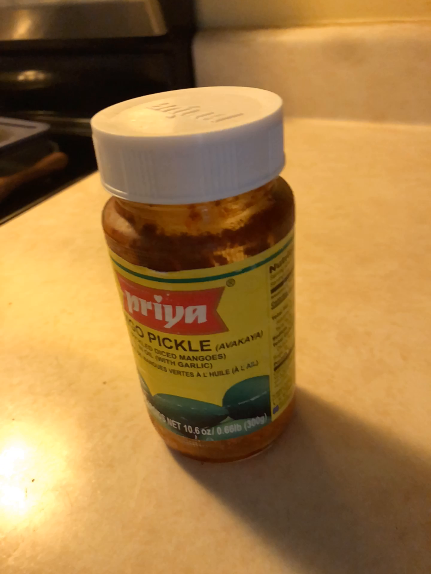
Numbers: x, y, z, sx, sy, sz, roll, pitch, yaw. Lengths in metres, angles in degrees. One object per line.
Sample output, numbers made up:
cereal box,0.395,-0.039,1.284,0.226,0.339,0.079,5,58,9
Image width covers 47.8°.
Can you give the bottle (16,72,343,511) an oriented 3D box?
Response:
bottle,-0.003,0.000,0.171,0.070,0.130,0.060,15,38,29
